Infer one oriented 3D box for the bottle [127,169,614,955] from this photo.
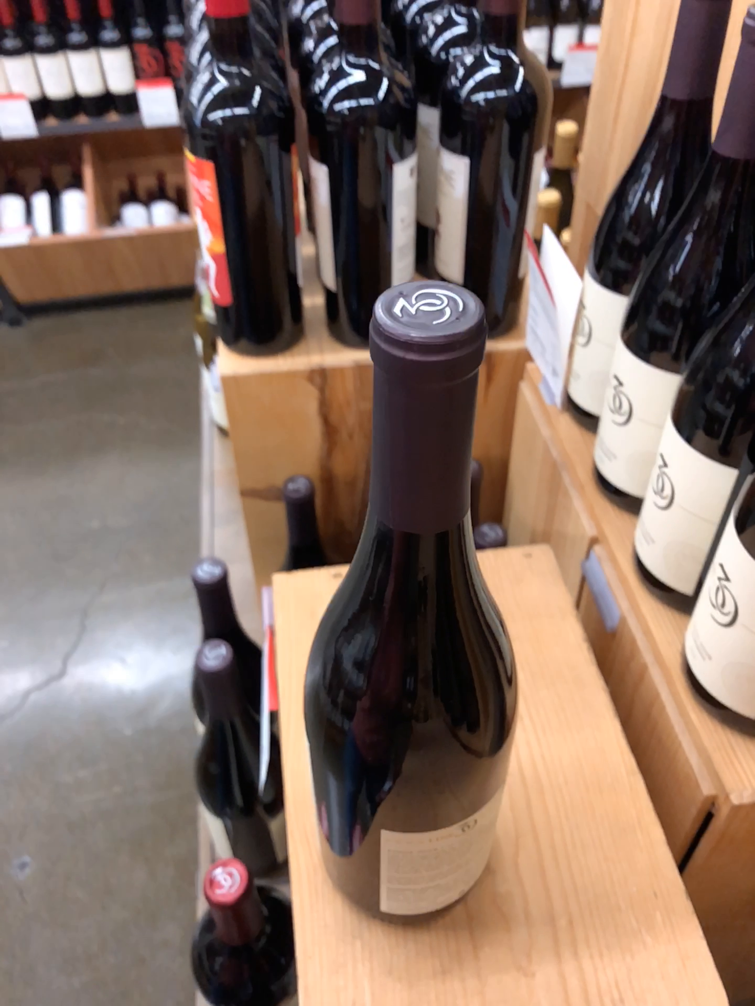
[{"bbox_3d":[0.001,0.048,0.294,0.080,0.283,0.080,-1,44,1],"label":"bottle"}]
